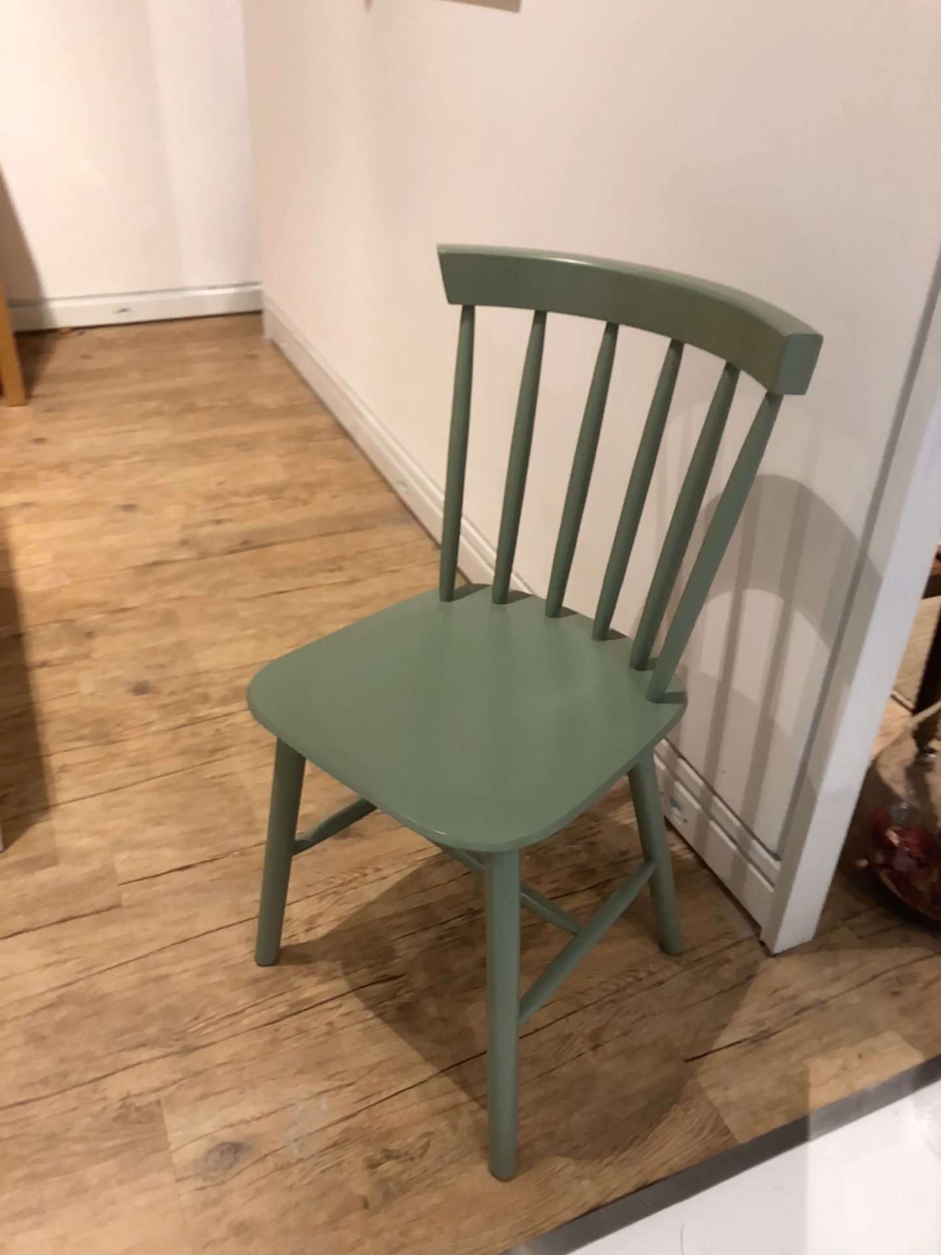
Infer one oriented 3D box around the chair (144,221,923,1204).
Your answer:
[{"bbox_3d":[0.054,0.057,1.143,0.472,0.813,0.523,28,41,34],"label":"chair"}]
